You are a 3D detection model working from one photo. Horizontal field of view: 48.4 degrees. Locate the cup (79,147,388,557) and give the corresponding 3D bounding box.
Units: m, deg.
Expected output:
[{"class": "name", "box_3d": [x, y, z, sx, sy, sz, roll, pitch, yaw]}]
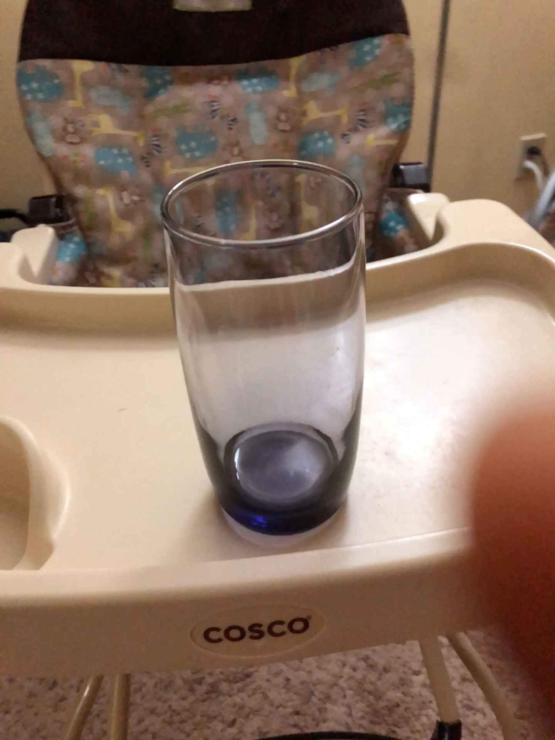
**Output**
[{"class": "cup", "box_3d": [-0.005, -0.007, 0.249, 0.083, 0.134, 0.085, -3, 39, 2]}]
